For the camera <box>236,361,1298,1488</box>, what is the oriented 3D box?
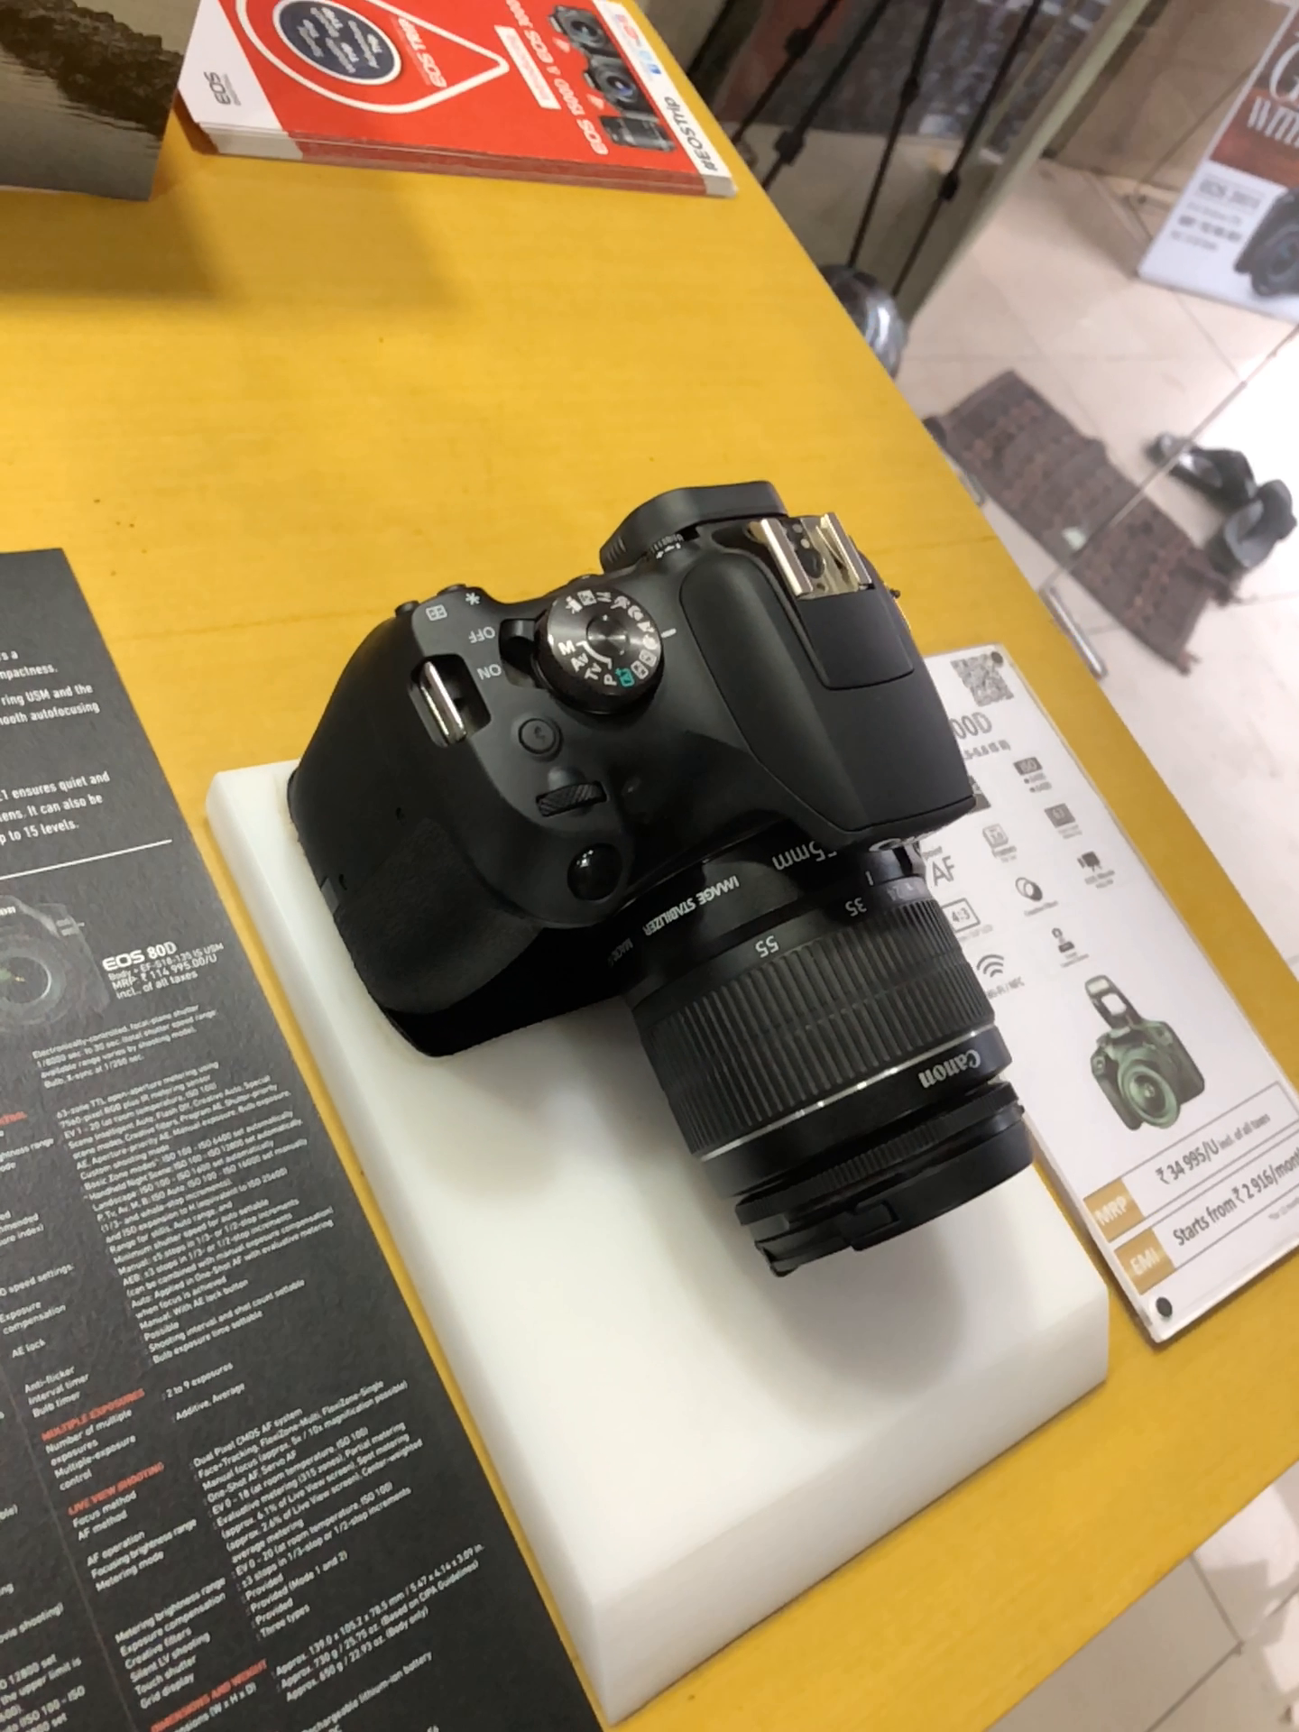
[{"bbox_3d":[0.030,-0.001,0.252,0.141,0.089,0.140,-17,69,-36],"label":"camera"}]
